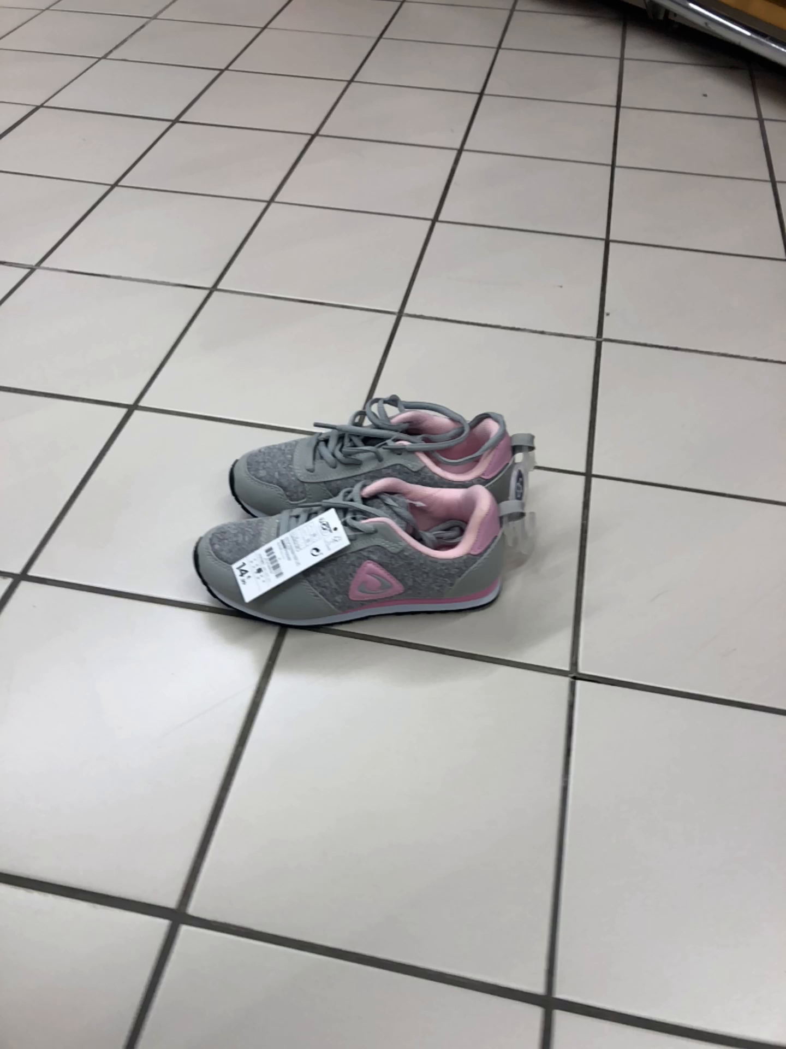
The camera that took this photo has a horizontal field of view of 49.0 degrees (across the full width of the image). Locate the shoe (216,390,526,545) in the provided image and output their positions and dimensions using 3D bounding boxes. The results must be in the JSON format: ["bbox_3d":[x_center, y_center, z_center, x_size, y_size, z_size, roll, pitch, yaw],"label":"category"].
[{"bbox_3d":[-0.016,-0.043,0.654,0.214,0.083,0.082,0,46,-1],"label":"shoe"}]

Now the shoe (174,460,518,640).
[{"bbox_3d":[-0.031,0.017,0.595,0.214,0.083,0.082,-2,46,-3],"label":"shoe"}]
